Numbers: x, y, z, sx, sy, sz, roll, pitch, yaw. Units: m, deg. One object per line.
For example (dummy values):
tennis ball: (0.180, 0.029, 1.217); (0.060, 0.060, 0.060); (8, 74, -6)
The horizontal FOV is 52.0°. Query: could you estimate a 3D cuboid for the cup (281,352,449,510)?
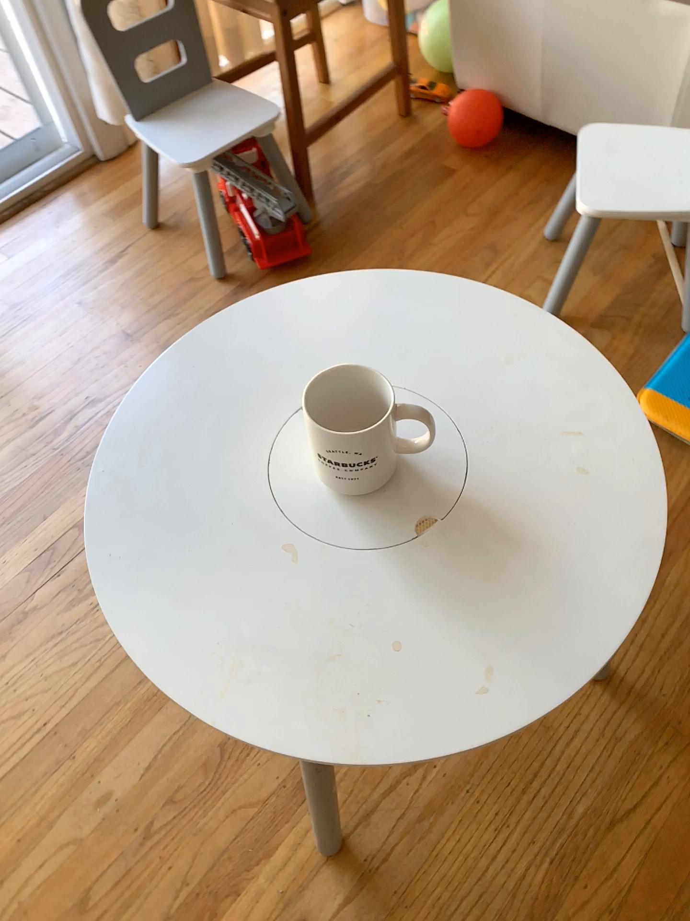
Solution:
cup: (0.019, -0.025, 0.661); (0.140, 0.110, 0.090); (-4, 56, 3)
